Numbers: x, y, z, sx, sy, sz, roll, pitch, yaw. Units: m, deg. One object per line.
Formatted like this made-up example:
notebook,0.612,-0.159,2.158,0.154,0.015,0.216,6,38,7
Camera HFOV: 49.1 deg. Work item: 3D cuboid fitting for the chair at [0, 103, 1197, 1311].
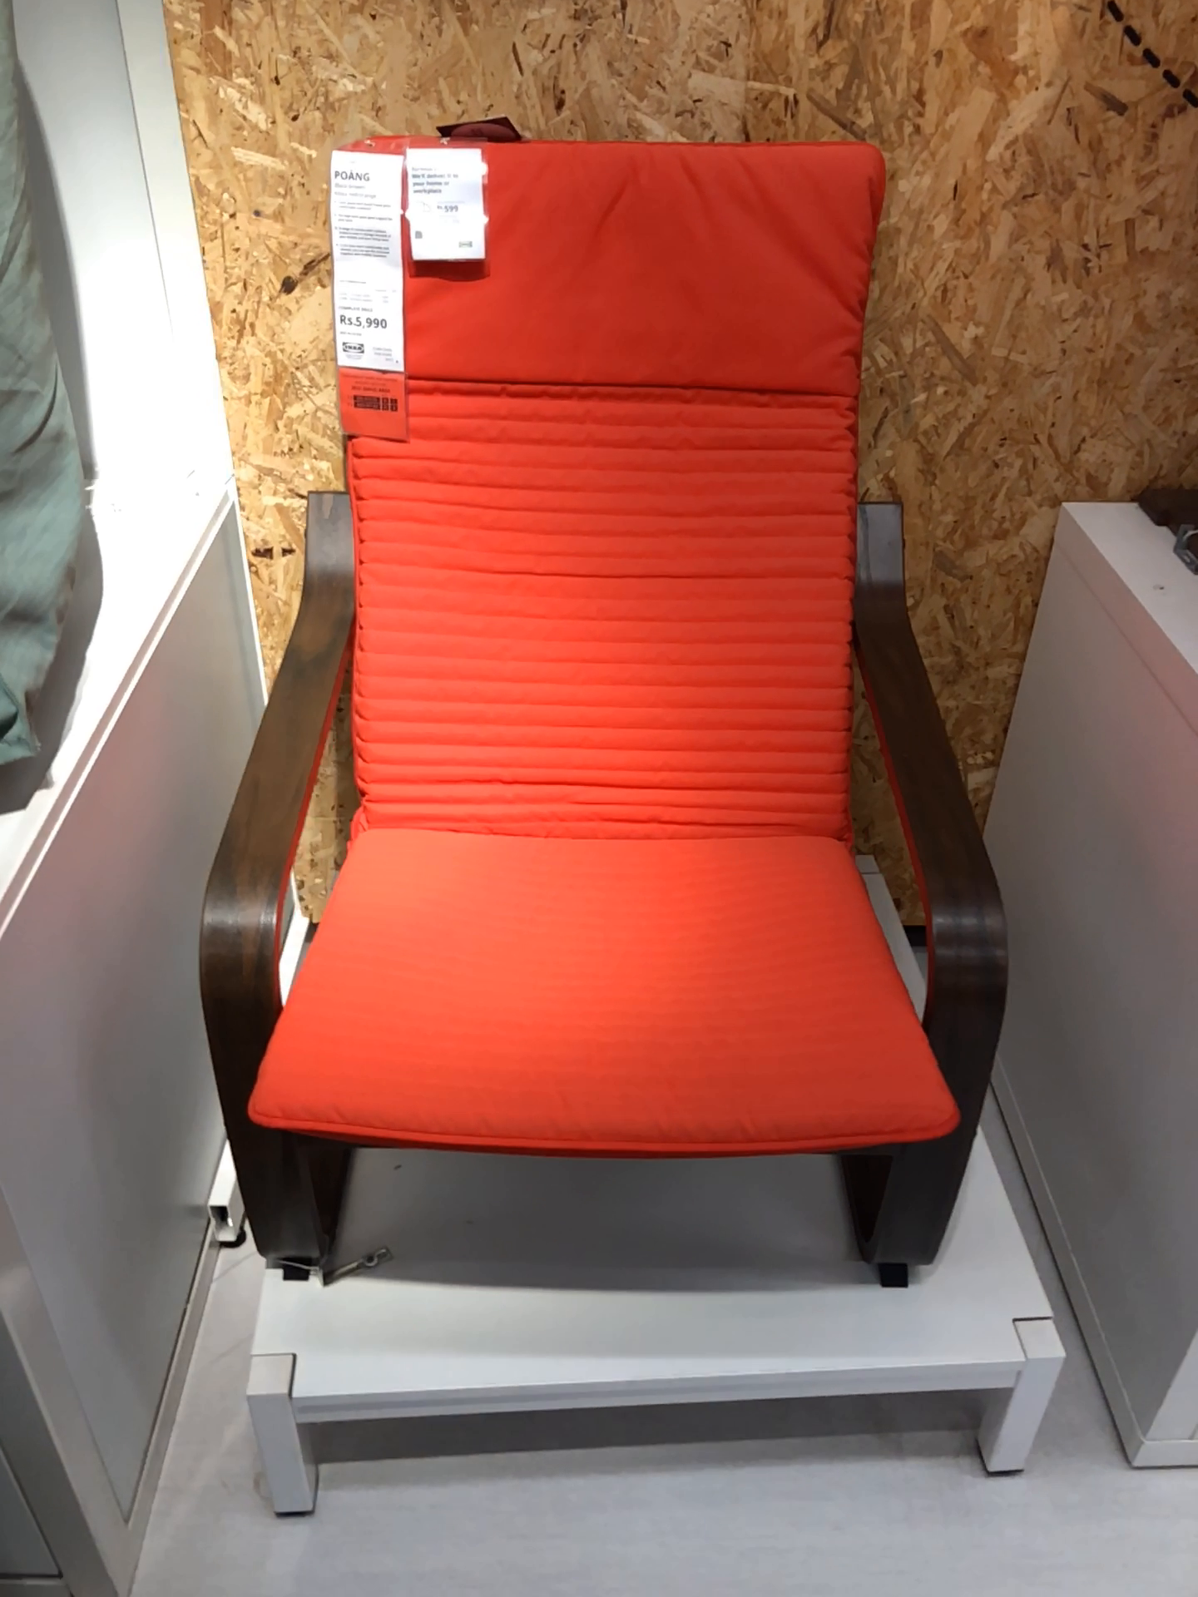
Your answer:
chair,0.014,-0.117,1.294,0.750,0.894,0.796,1,35,-1
